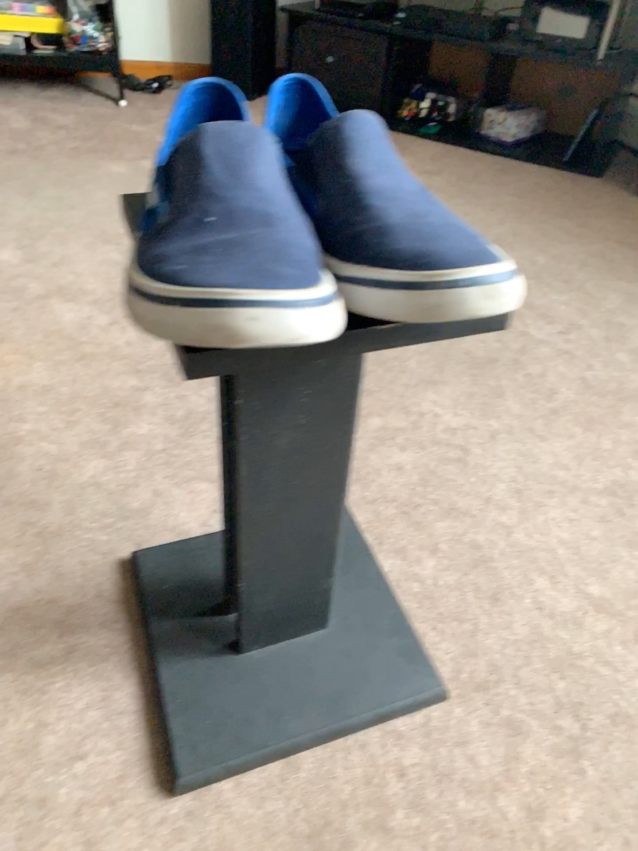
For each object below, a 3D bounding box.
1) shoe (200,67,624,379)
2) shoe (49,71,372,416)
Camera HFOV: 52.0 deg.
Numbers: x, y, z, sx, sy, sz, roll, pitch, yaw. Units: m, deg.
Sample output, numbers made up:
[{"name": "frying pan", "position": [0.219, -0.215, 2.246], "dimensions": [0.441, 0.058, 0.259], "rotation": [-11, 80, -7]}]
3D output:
[{"name": "shoe", "position": [0.027, -0.155, 0.421], "dimensions": [0.120, 0.079, 0.302], "rotation": [-13, 42, -22]}, {"name": "shoe", "position": [-0.065, -0.132, 0.387], "dimensions": [0.120, 0.079, 0.303], "rotation": [-2, 39, -10]}]
